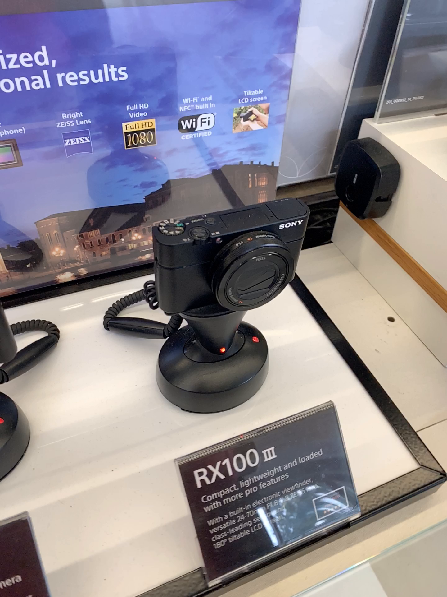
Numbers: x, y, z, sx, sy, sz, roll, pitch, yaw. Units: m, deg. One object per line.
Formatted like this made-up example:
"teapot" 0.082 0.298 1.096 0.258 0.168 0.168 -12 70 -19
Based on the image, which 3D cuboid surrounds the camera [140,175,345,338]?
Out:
"camera" 0.010 -0.029 0.292 0.110 0.059 0.050 -17 49 -19
